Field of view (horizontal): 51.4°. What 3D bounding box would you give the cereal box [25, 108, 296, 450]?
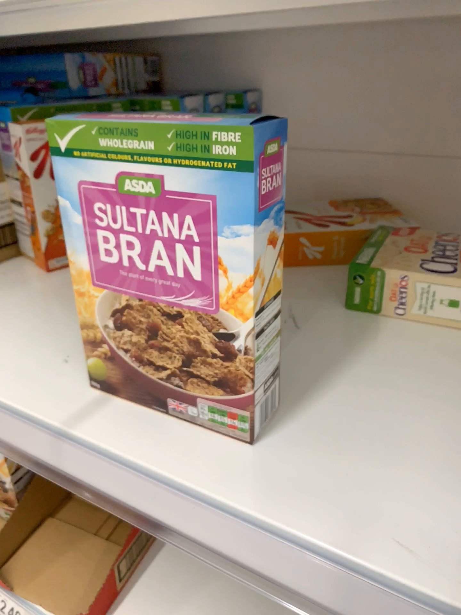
[{"bbox_3d":[-0.056,-0.032,0.432,0.210,0.268,0.070,12,29,27],"label":"cereal box"}]
